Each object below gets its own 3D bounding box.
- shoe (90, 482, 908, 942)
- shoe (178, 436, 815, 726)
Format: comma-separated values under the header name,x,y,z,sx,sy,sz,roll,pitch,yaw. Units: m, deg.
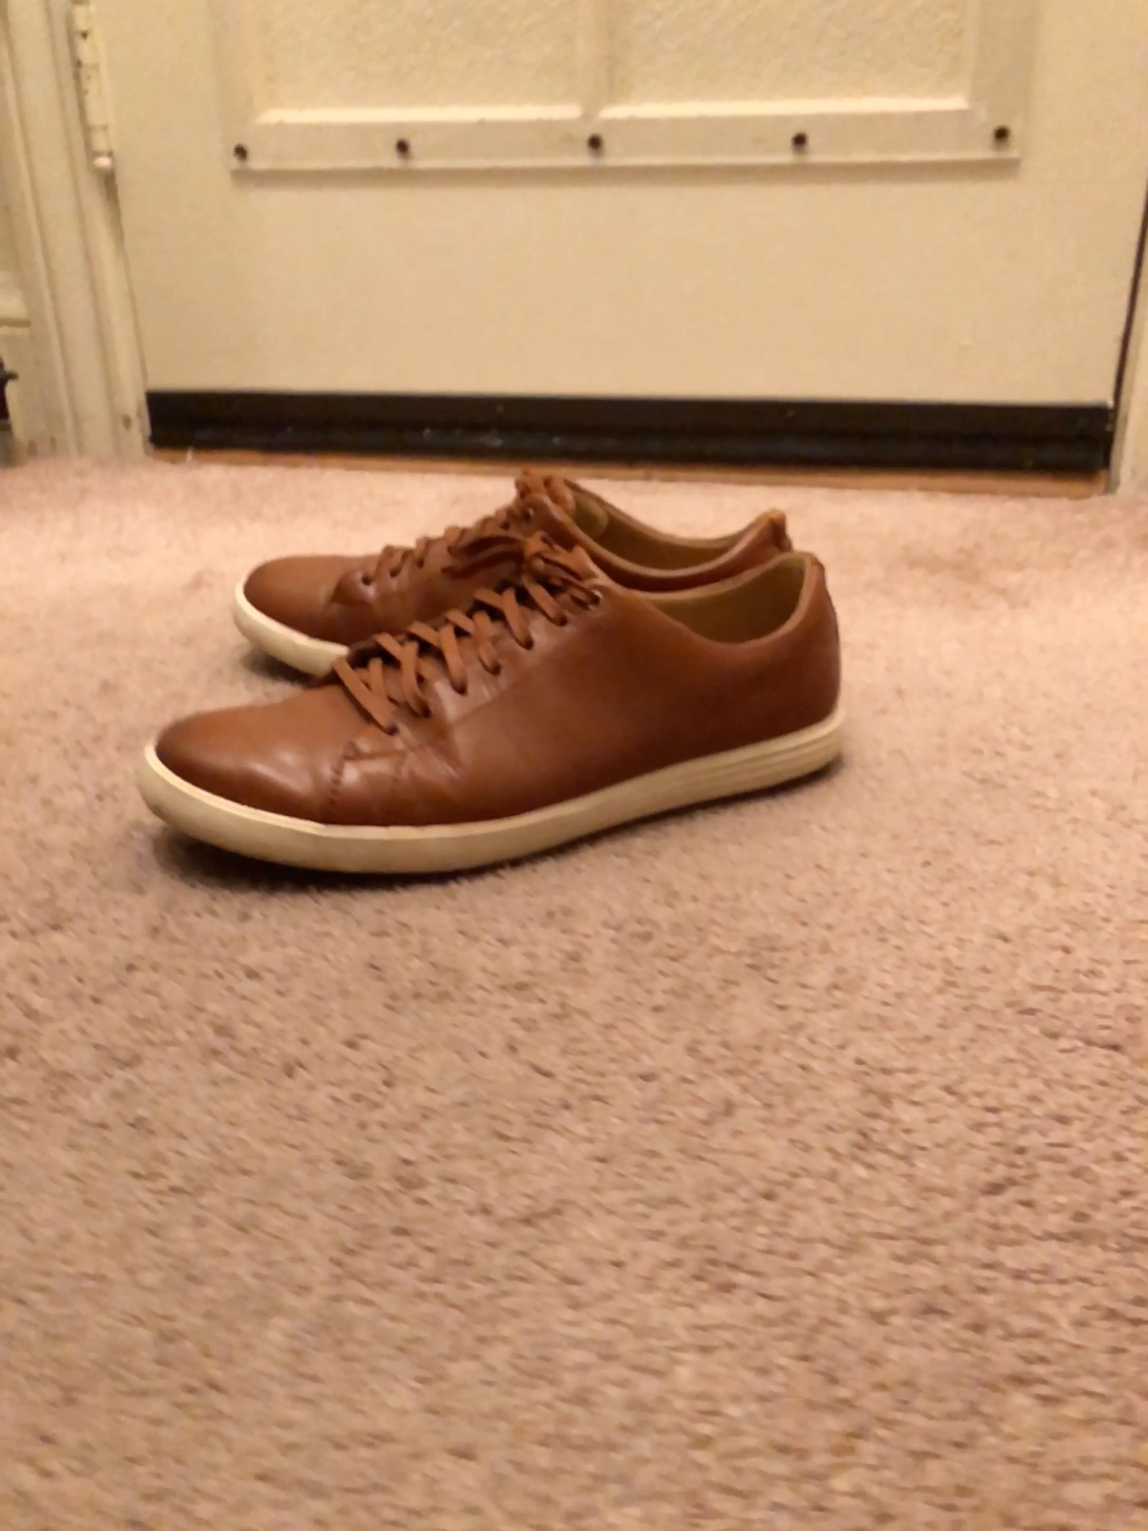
name,x,y,z,sx,sy,sz,roll,pitch,yaw
shoe,-0.027,-0.035,0.500,0.285,0.100,0.118,-11,27,-20
shoe,-0.029,-0.097,0.631,0.285,0.102,0.118,3,25,8
